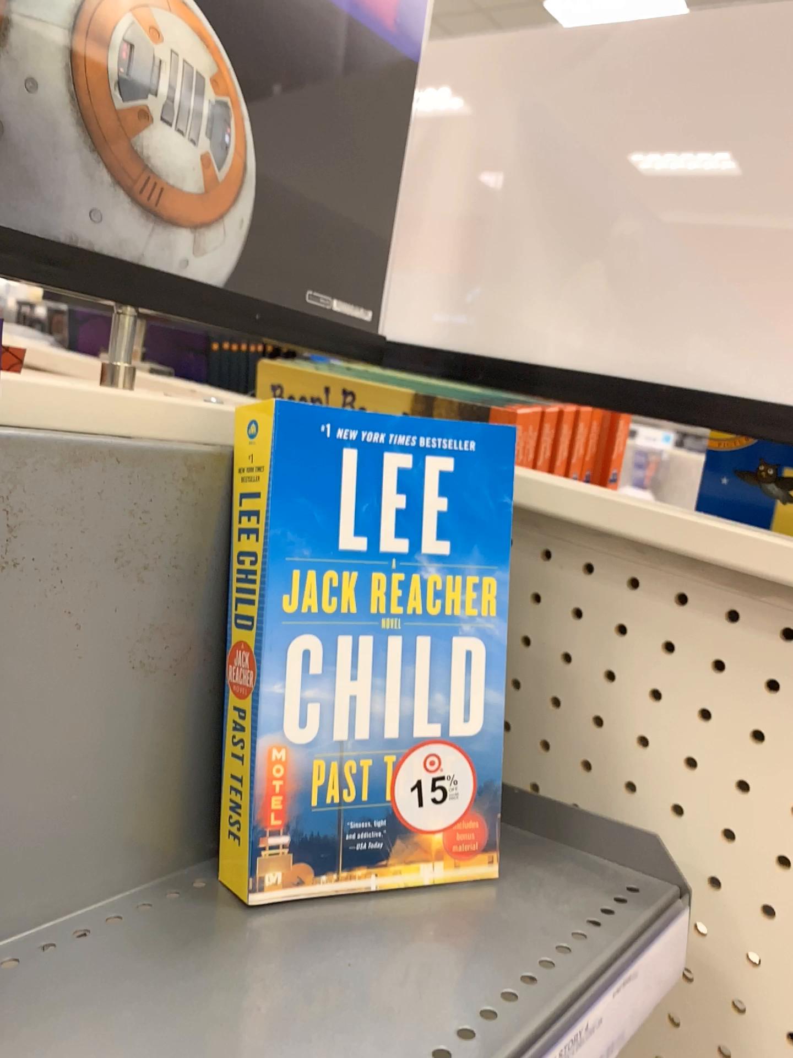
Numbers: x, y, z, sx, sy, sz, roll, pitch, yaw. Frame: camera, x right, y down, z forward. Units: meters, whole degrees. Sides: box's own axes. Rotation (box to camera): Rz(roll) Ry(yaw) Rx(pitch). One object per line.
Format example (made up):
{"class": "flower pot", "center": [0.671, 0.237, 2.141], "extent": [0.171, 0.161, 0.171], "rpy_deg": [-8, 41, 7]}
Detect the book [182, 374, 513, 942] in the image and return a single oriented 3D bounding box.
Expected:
{"class": "book", "center": [-0.018, 0.048, 0.356], "extent": [0.110, 0.197, 0.080], "rpy_deg": [6, -7, -39]}
